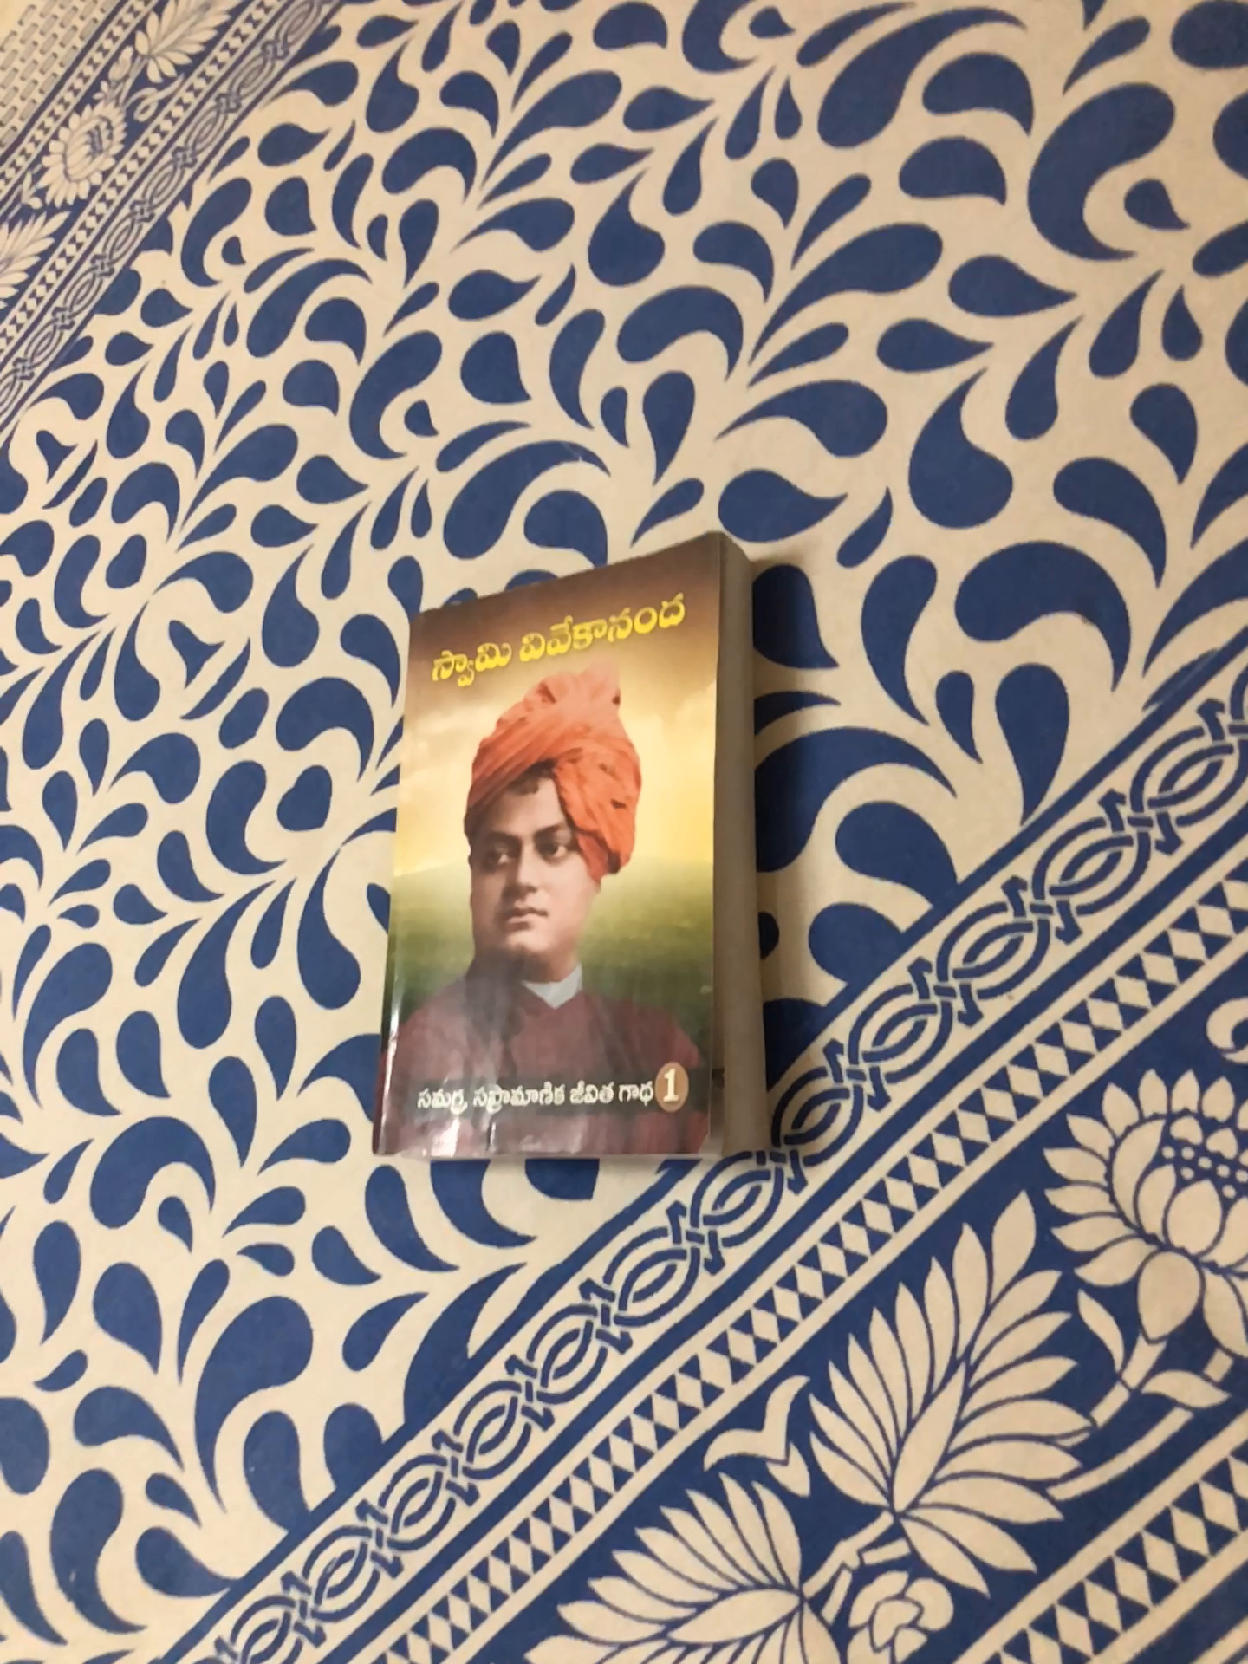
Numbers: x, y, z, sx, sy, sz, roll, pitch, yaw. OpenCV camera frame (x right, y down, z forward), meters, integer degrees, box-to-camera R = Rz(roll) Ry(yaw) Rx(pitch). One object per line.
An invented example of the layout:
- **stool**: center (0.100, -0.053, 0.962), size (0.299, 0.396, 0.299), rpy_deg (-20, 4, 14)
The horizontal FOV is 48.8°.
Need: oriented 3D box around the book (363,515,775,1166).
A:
- **book**: center (-0.020, 0.007, 0.479), size (0.141, 0.030, 0.210), rpy_deg (-8, 73, 28)
